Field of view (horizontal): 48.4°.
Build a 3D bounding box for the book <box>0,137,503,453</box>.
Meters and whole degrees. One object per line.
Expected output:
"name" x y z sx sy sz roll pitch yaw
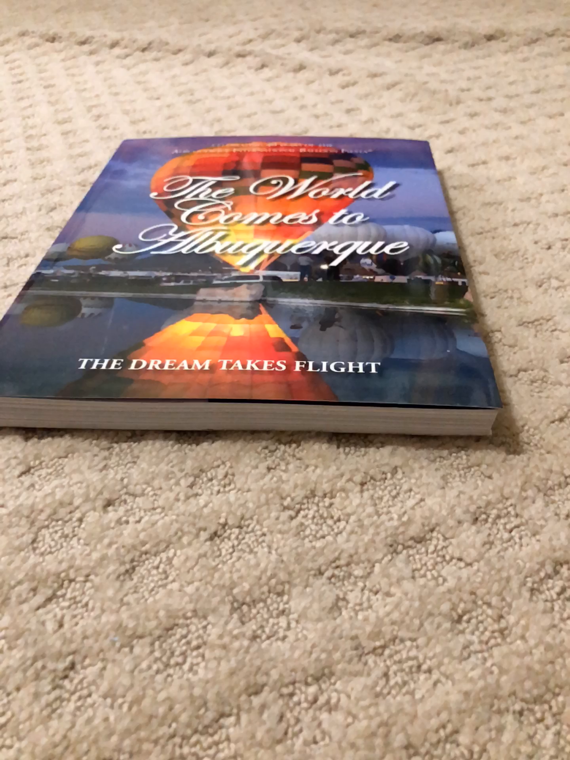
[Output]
"book" -0.017 -0.069 0.332 0.204 0.023 0.259 1 41 4
